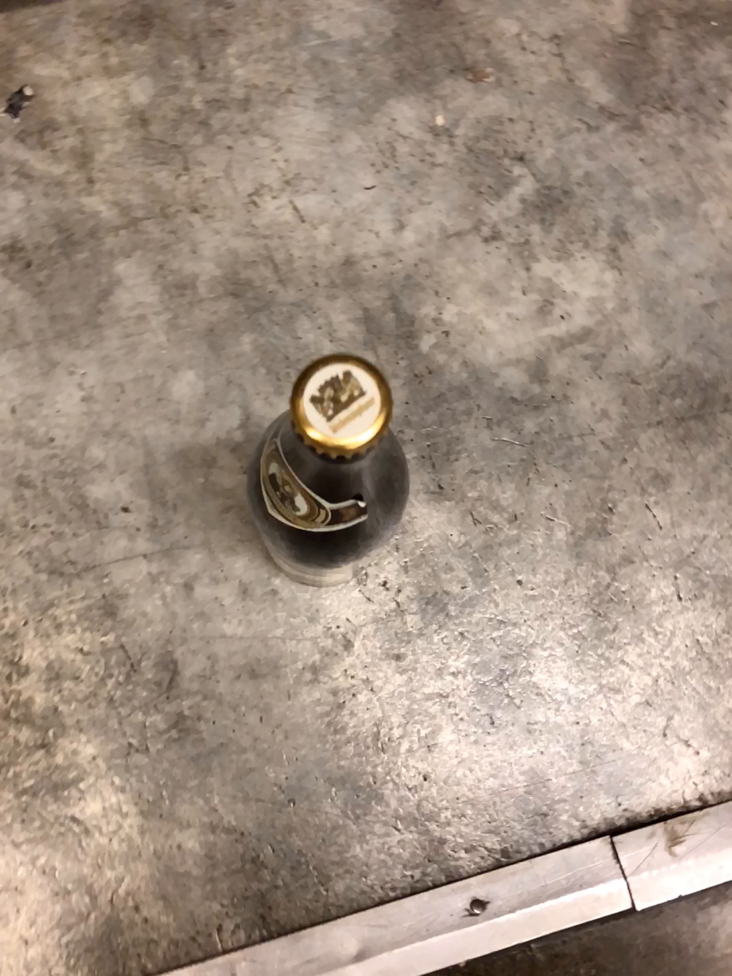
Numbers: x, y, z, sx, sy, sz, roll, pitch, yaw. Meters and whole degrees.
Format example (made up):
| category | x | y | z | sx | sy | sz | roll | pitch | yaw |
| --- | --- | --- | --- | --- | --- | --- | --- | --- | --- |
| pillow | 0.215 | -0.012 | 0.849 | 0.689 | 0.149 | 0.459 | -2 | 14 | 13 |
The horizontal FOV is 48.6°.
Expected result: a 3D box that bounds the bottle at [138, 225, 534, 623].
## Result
| category | x | y | z | sx | sy | sz | roll | pitch | yaw |
| --- | --- | --- | --- | --- | --- | --- | --- | --- | --- |
| bottle | -0.015 | 0.003 | 0.319 | 0.070 | 0.250 | 0.070 | 1 | 80 | -3 |
